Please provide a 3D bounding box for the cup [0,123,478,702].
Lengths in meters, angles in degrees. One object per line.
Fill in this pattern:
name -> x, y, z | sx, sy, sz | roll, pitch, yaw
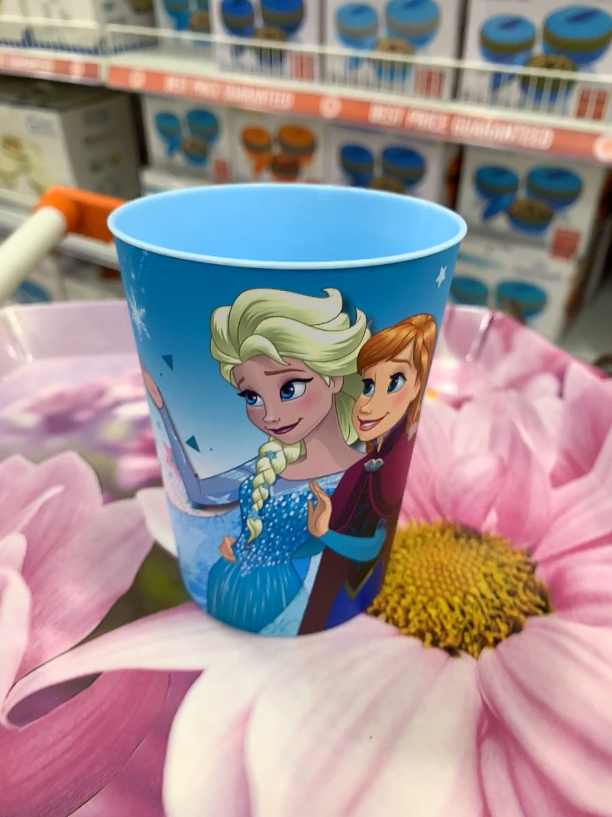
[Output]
cup -> -0.012, -0.002, 0.156 | 0.080, 0.109, 0.060 | 12, 35, 18
